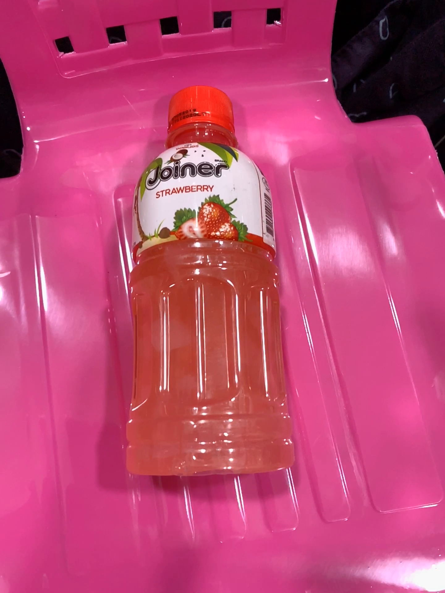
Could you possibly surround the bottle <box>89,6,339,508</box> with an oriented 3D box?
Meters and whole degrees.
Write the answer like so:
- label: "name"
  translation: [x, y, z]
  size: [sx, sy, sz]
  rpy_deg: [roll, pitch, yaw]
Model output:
- label: "bottle"
  translation: [-0.007, -0.015, 0.179]
  size: [0.070, 0.070, 0.160]
  rpy_deg: [-2, 79, -2]
